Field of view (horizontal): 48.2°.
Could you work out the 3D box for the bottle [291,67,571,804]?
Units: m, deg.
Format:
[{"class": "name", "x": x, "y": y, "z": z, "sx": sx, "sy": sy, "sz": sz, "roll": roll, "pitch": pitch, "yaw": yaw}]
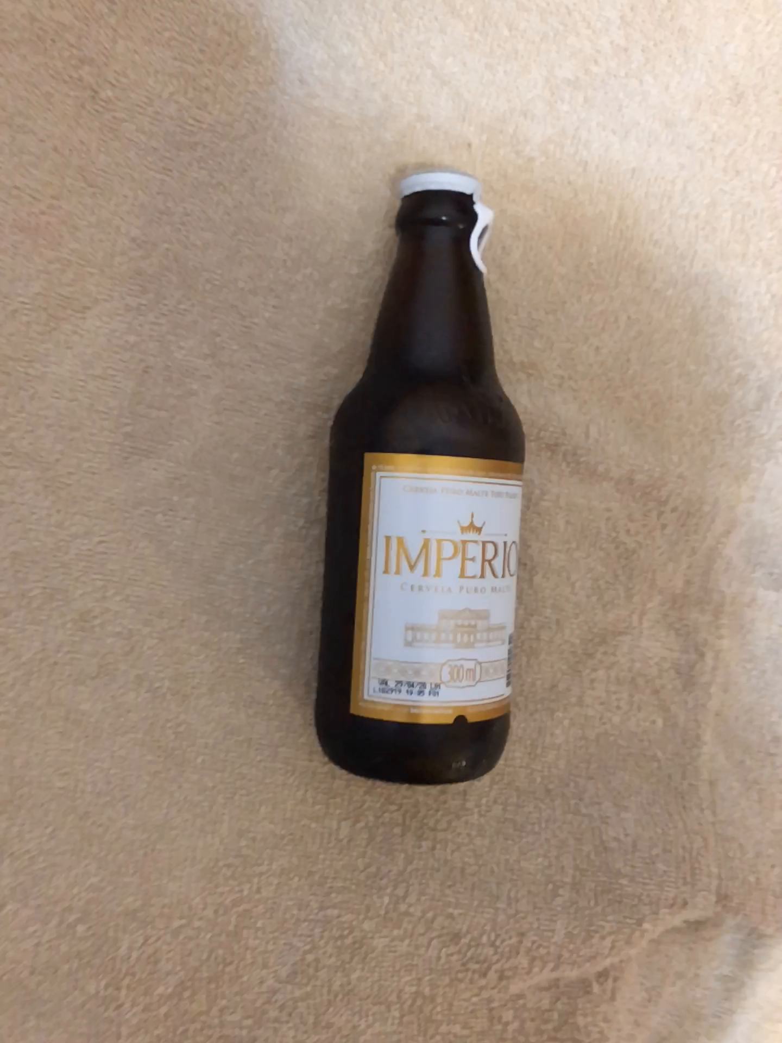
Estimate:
[{"class": "bottle", "x": 0.009, "y": -0.021, "z": 0.263, "sx": 0.060, "sy": 0.060, "sz": 0.190, "roll": 2, "pitch": 91, "yaw": -15}]
